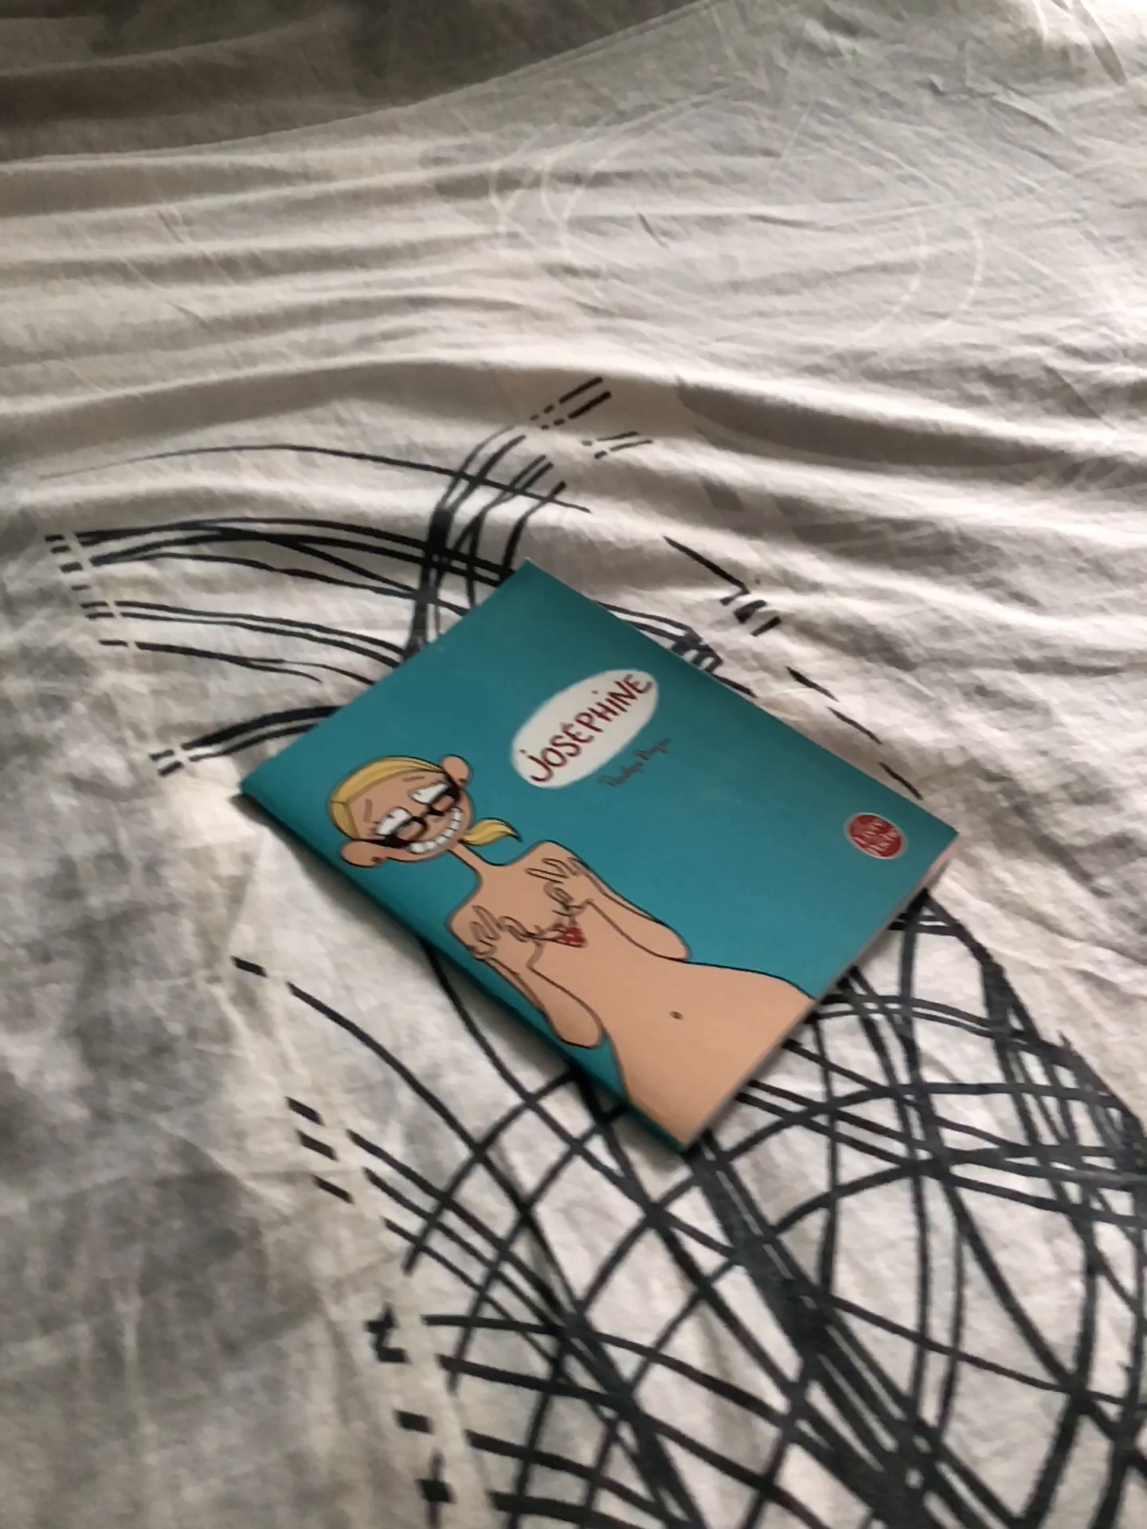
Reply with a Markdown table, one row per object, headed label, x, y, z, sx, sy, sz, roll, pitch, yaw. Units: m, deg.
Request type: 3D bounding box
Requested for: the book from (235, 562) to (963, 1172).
| label | x | y | z | sx | sy | sz | roll | pitch | yaw |
| --- | --- | --- | --- | --- | --- | --- | --- | --- | --- |
| book | 0.006 | 0.017 | 0.415 | 0.187 | 0.014 | 0.145 | 35 | 60 | 27 |
